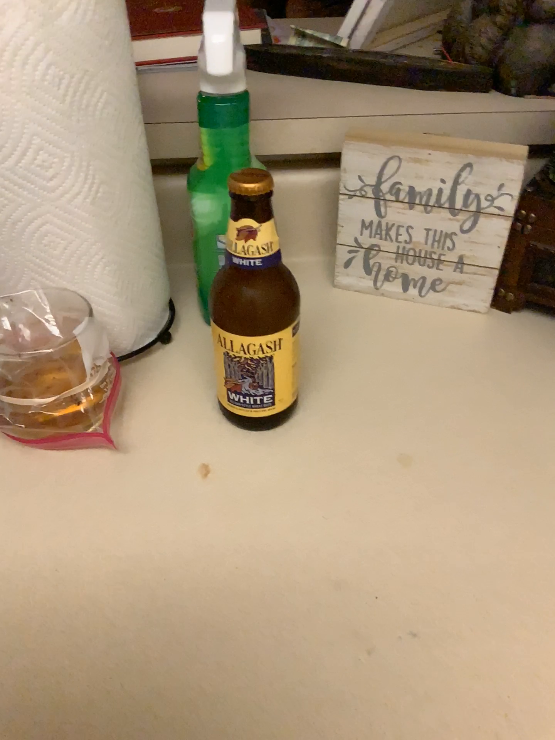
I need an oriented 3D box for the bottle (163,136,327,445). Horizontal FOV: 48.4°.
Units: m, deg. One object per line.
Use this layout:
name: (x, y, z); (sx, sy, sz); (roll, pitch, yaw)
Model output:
bottle: (-0.015, -0.049, 0.426); (0.080, 0.190, 0.080); (0, 39, 0)
